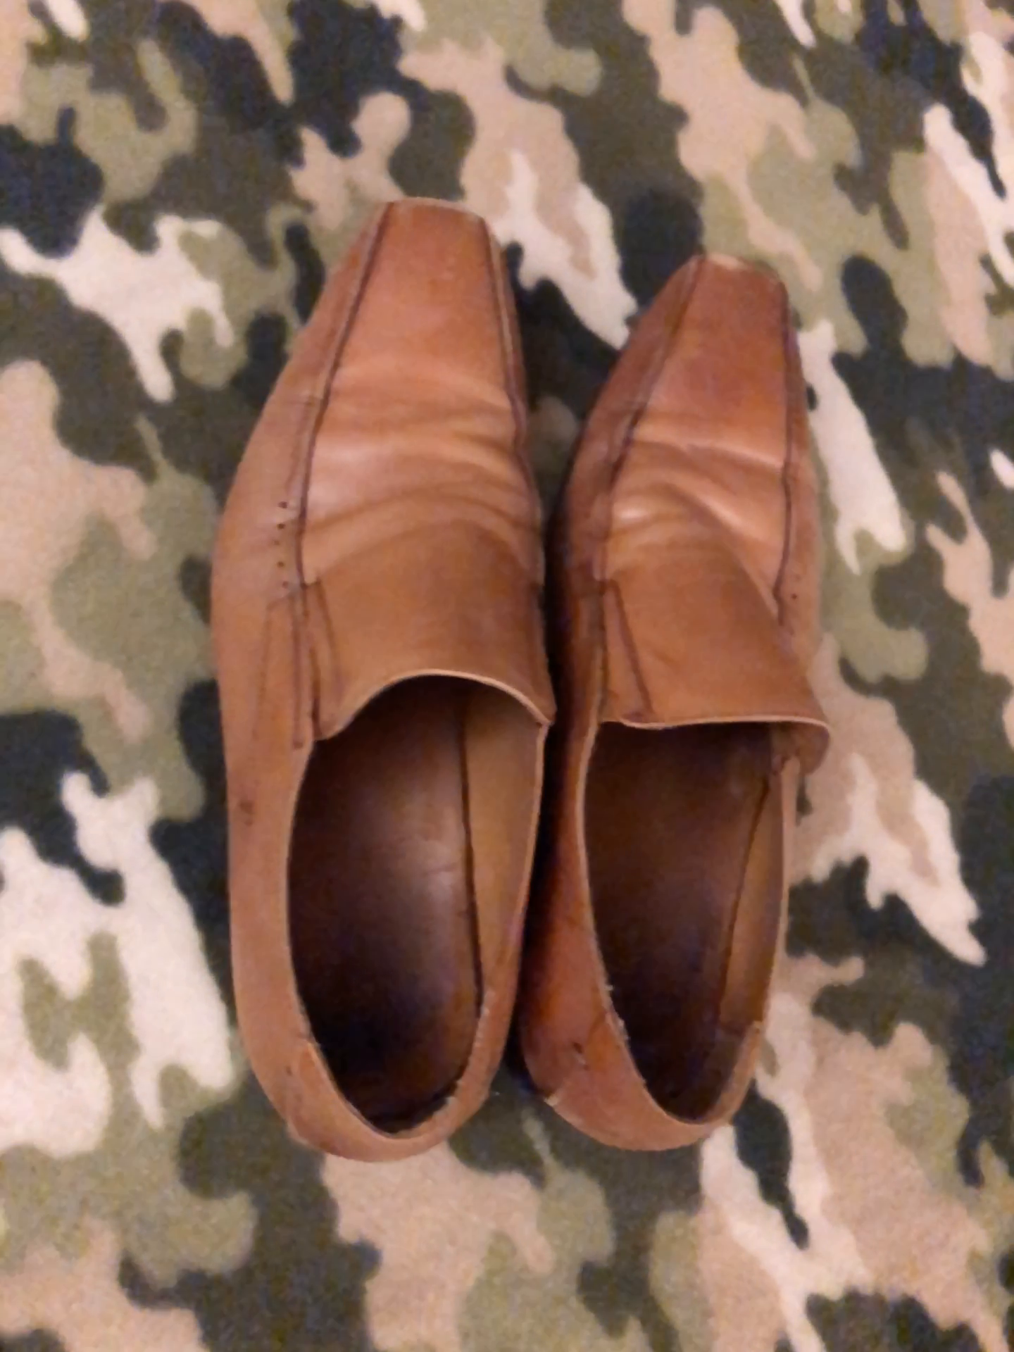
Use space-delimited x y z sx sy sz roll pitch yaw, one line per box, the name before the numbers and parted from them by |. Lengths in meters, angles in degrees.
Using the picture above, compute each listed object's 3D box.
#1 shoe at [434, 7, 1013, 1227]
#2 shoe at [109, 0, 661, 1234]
shoe | 0.068 -0.018 0.357 0.110 0.120 0.320 12 76 -13
shoe | -0.033 -0.028 0.327 0.110 0.120 0.320 6 78 -14
